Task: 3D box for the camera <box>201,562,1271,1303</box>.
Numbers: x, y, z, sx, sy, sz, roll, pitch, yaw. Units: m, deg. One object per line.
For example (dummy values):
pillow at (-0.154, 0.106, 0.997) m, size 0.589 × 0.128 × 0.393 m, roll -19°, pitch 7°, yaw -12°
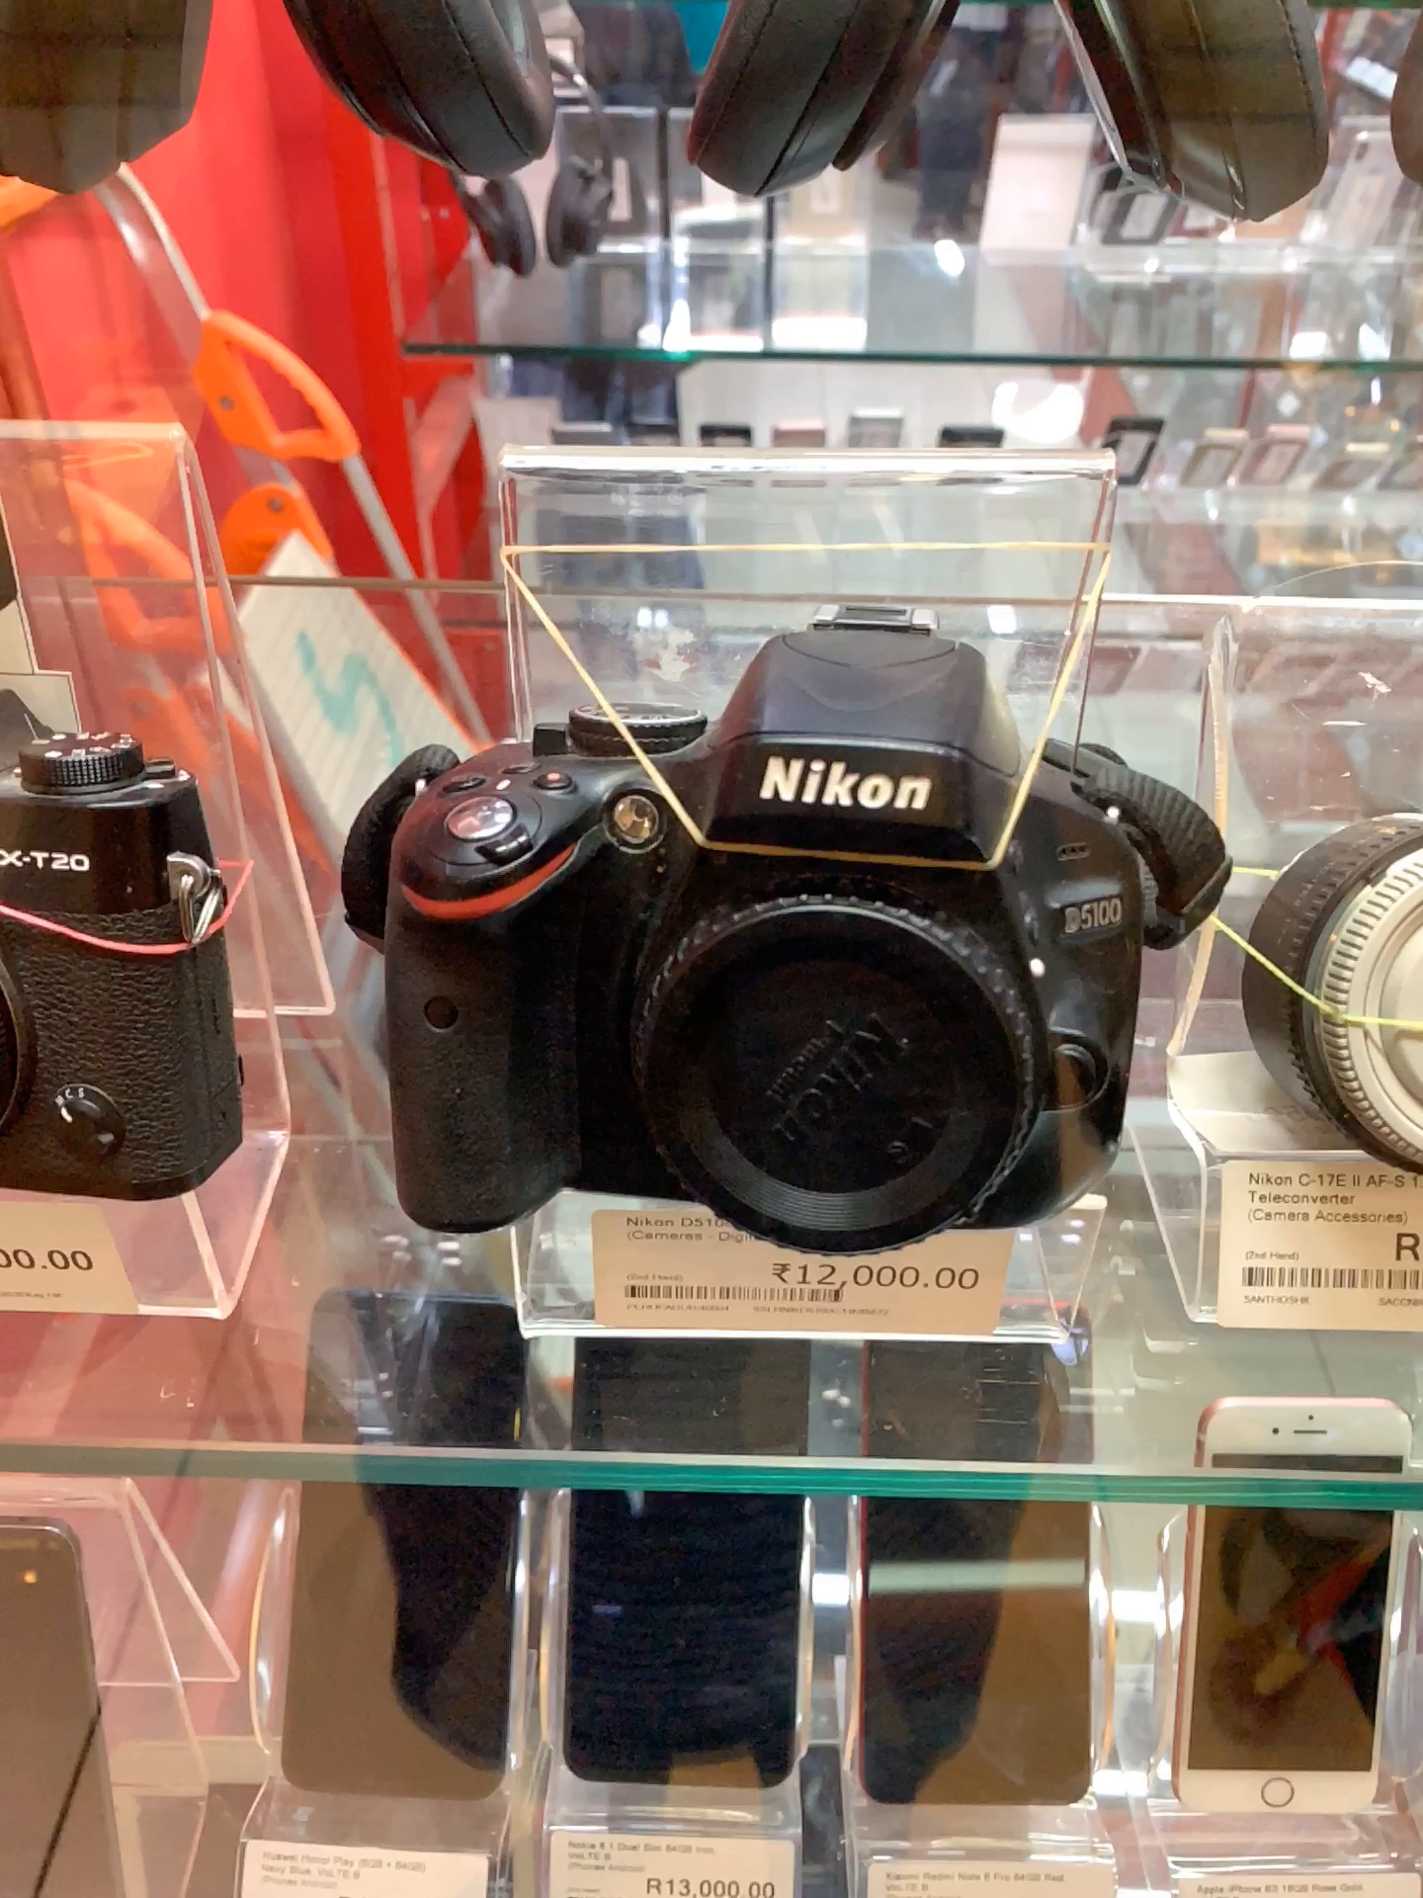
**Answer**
camera at (0.003, -0.003, 0.234) m, size 0.130 × 0.090 × 0.070 m, roll 2°, pitch 39°, yaw 1°
